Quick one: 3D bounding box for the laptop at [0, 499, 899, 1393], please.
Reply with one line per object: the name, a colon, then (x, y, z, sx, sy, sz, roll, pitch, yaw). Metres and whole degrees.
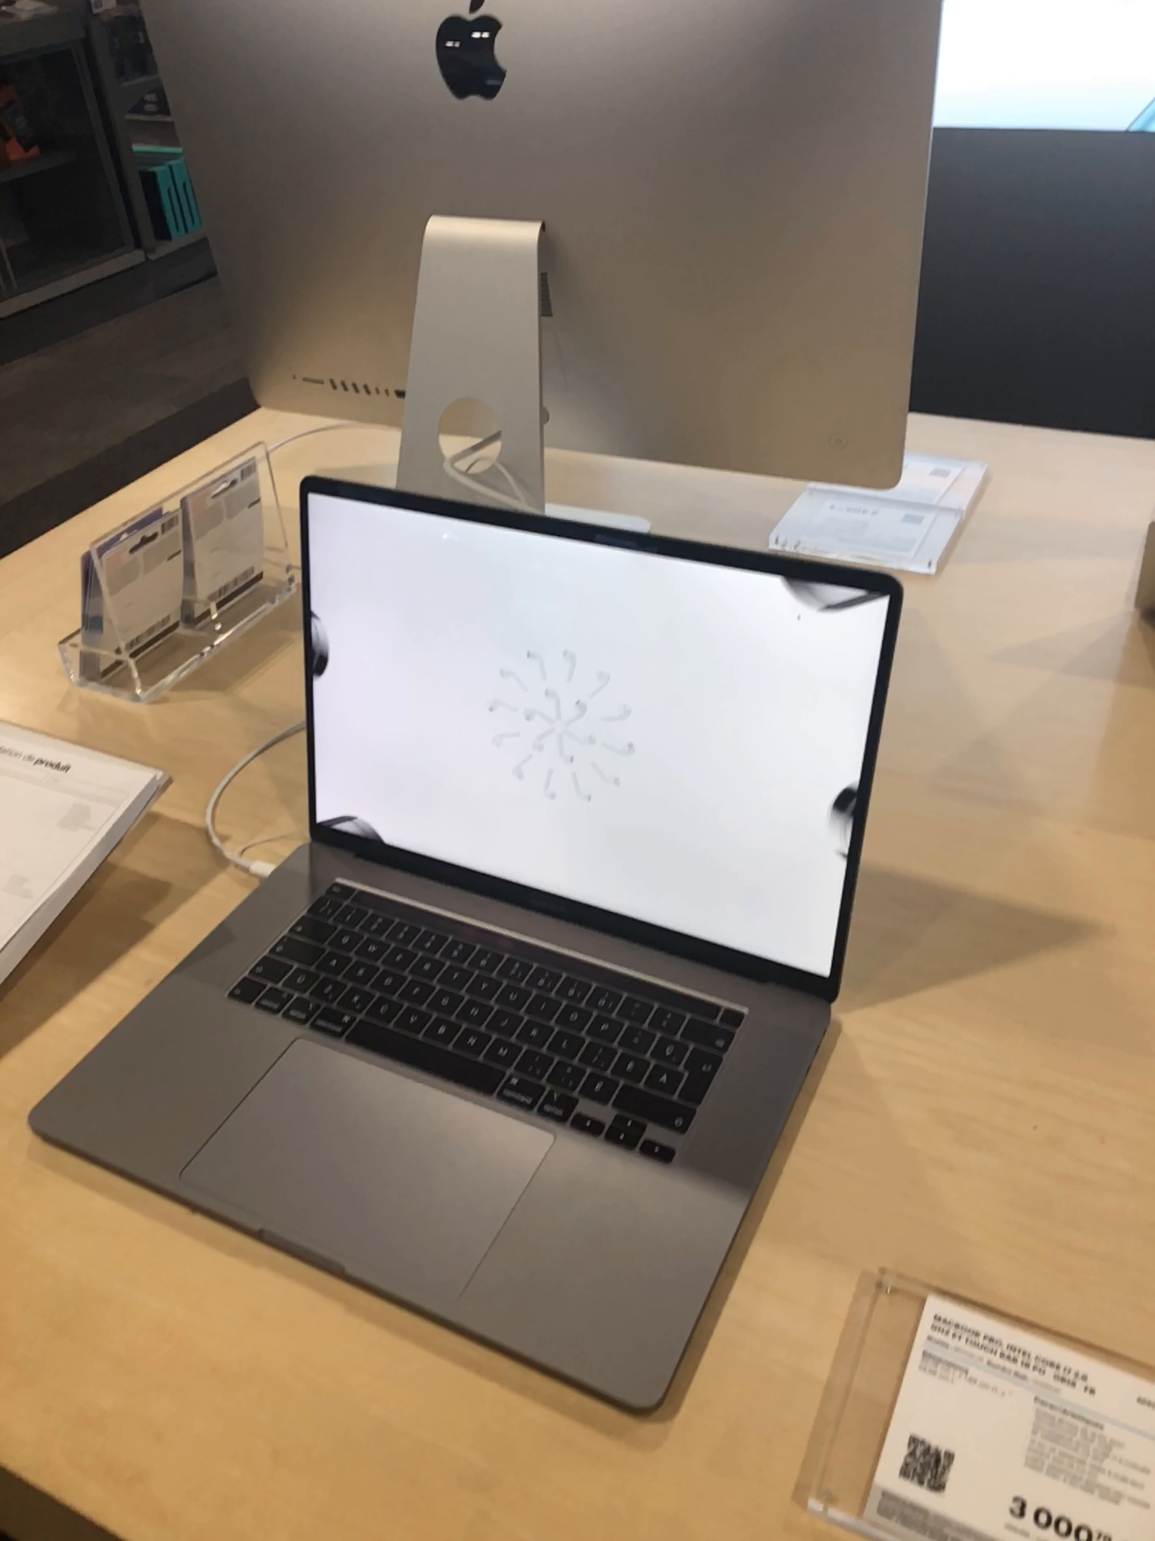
laptop: (-0.064, 0.049, 0.621, 0.344, 0.227, 0.292, 13, 39, 23)
